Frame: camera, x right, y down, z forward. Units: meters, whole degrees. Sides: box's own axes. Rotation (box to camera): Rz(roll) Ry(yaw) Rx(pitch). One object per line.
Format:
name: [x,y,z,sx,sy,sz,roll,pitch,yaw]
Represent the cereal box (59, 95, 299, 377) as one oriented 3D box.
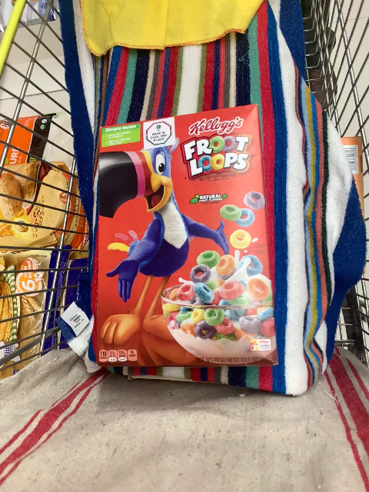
cereal box: [-0.009,-0.005,0.375,0.210,0.060,0.250,-4,77,13]
